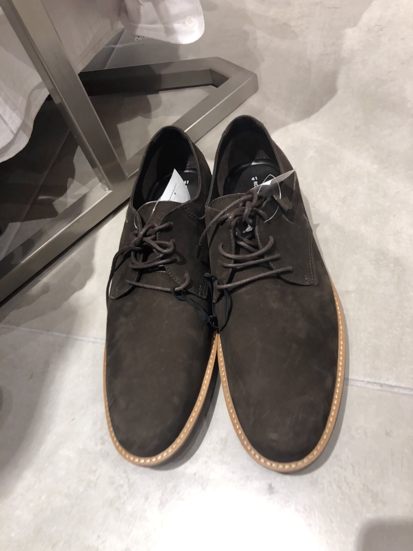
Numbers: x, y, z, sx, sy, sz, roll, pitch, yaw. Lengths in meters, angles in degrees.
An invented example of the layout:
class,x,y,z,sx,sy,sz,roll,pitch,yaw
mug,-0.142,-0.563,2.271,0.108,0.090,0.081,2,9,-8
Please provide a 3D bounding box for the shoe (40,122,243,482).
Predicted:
class,x,y,z,sx,sy,sz,roll,pitch,yaw
shoe,-0.034,0.015,0.419,0.110,0.119,0.301,-4,58,13

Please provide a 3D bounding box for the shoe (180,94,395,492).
class,x,y,z,sx,sy,sz,roll,pitch,yaw
shoe,0.051,0.004,0.382,0.110,0.119,0.301,-10,56,9
